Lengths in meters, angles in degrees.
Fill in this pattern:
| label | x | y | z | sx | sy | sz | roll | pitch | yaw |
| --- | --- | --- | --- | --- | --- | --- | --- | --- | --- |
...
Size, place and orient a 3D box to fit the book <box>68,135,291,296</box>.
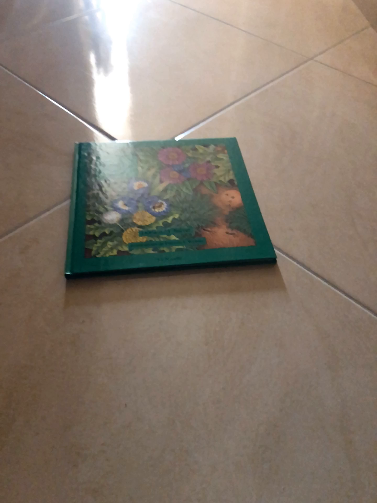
| label | x | y | z | sx | sy | sz | roll | pitch | yaw |
| --- | --- | --- | --- | --- | --- | --- | --- | --- | --- |
| book | -0.022 | -0.061 | 0.532 | 0.240 | 0.030 | 0.241 | -4 | 50 | -7 |
